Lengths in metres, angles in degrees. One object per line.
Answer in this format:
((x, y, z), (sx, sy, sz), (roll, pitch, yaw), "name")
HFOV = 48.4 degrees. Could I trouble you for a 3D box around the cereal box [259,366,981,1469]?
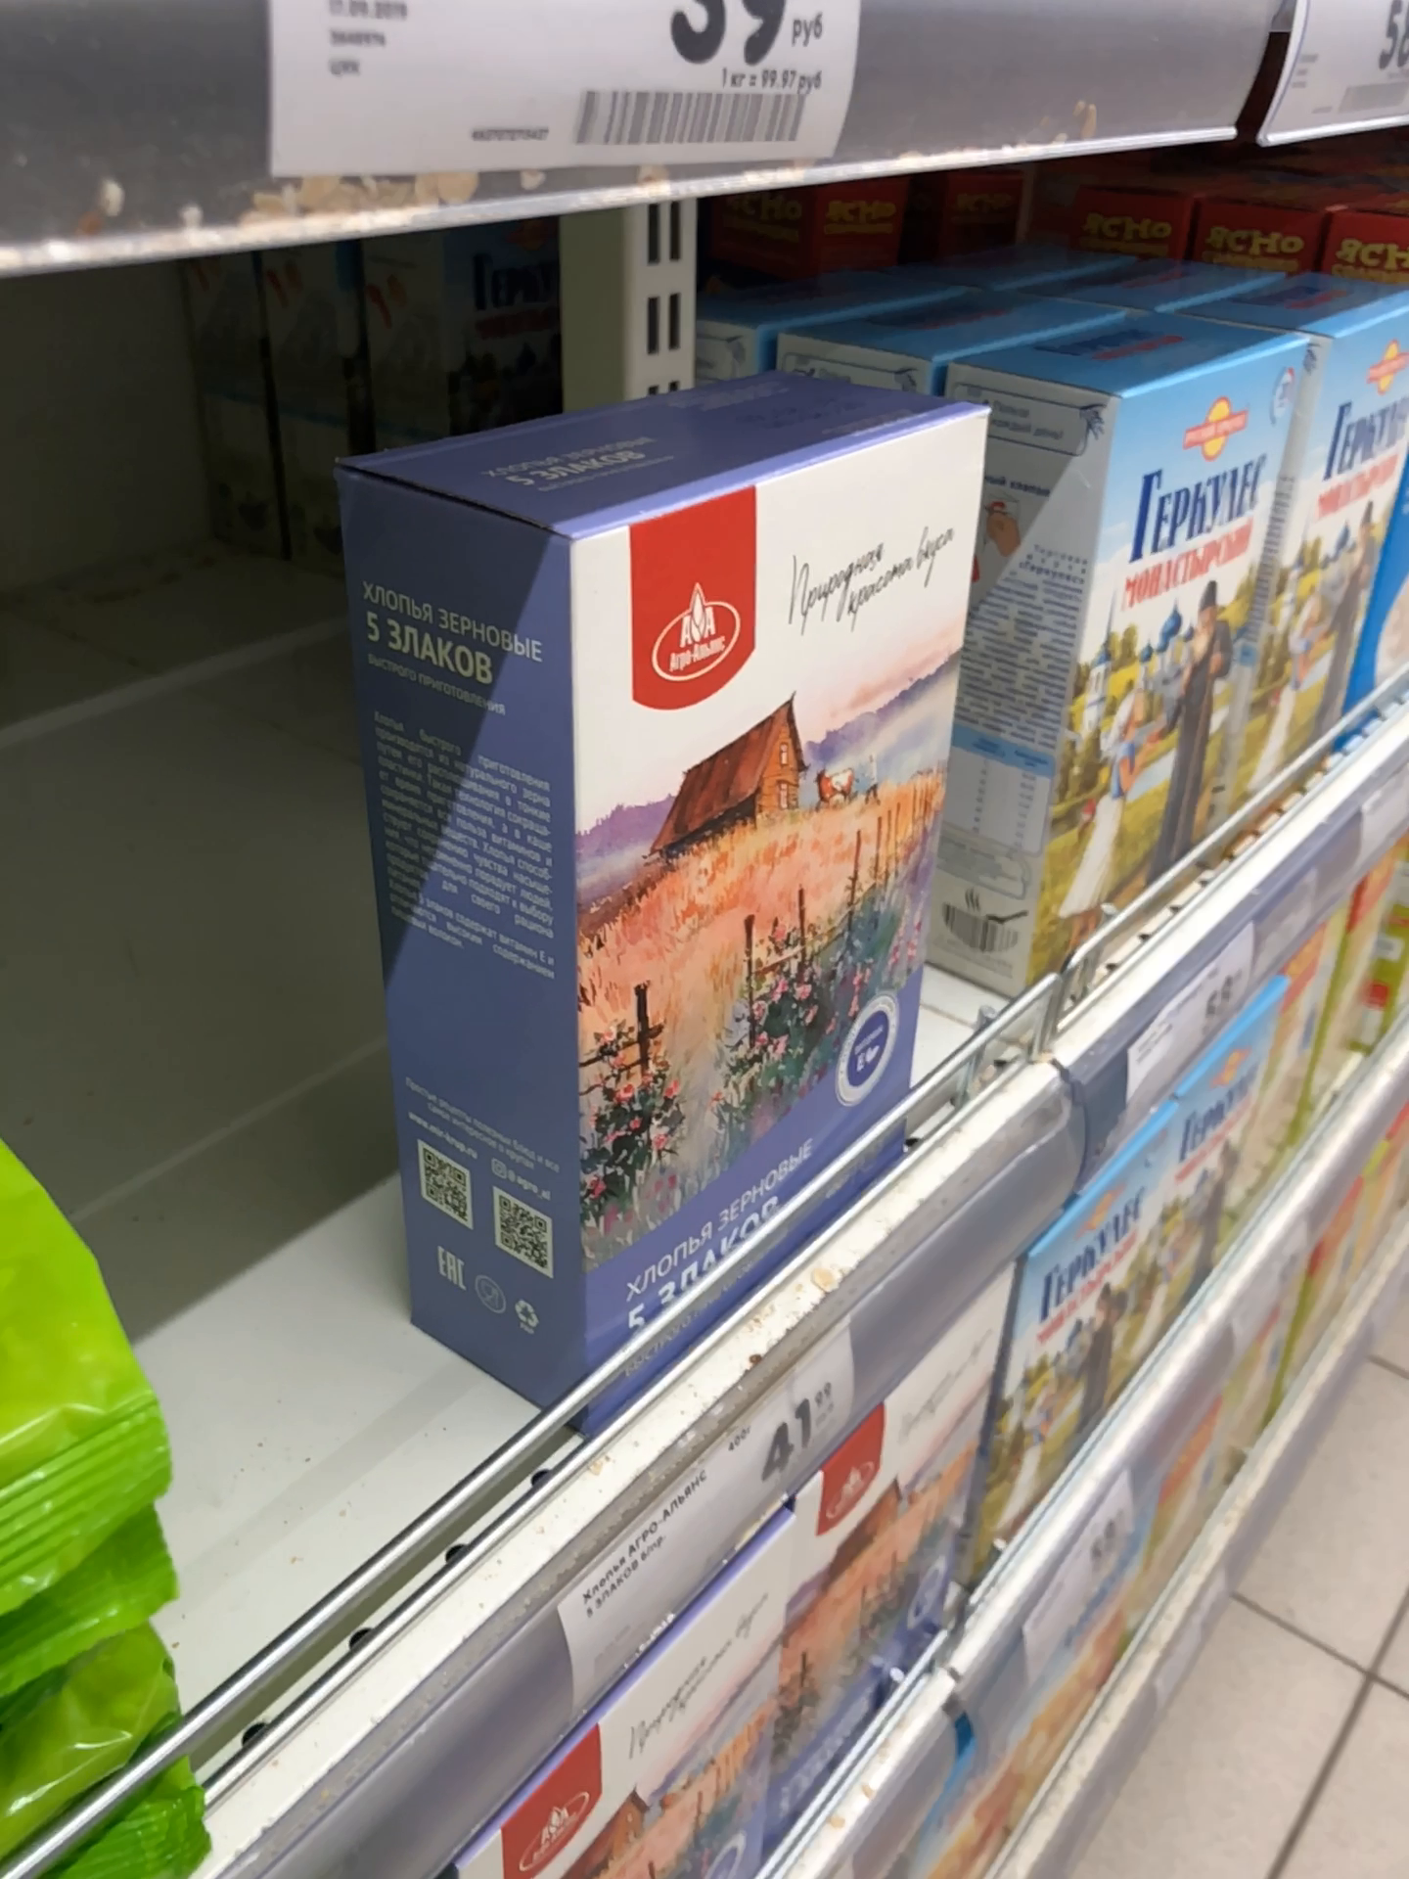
((-0.011, -0.009, 0.350), (0.060, 0.199, 0.141), (23, 37, 32), "cereal box")
